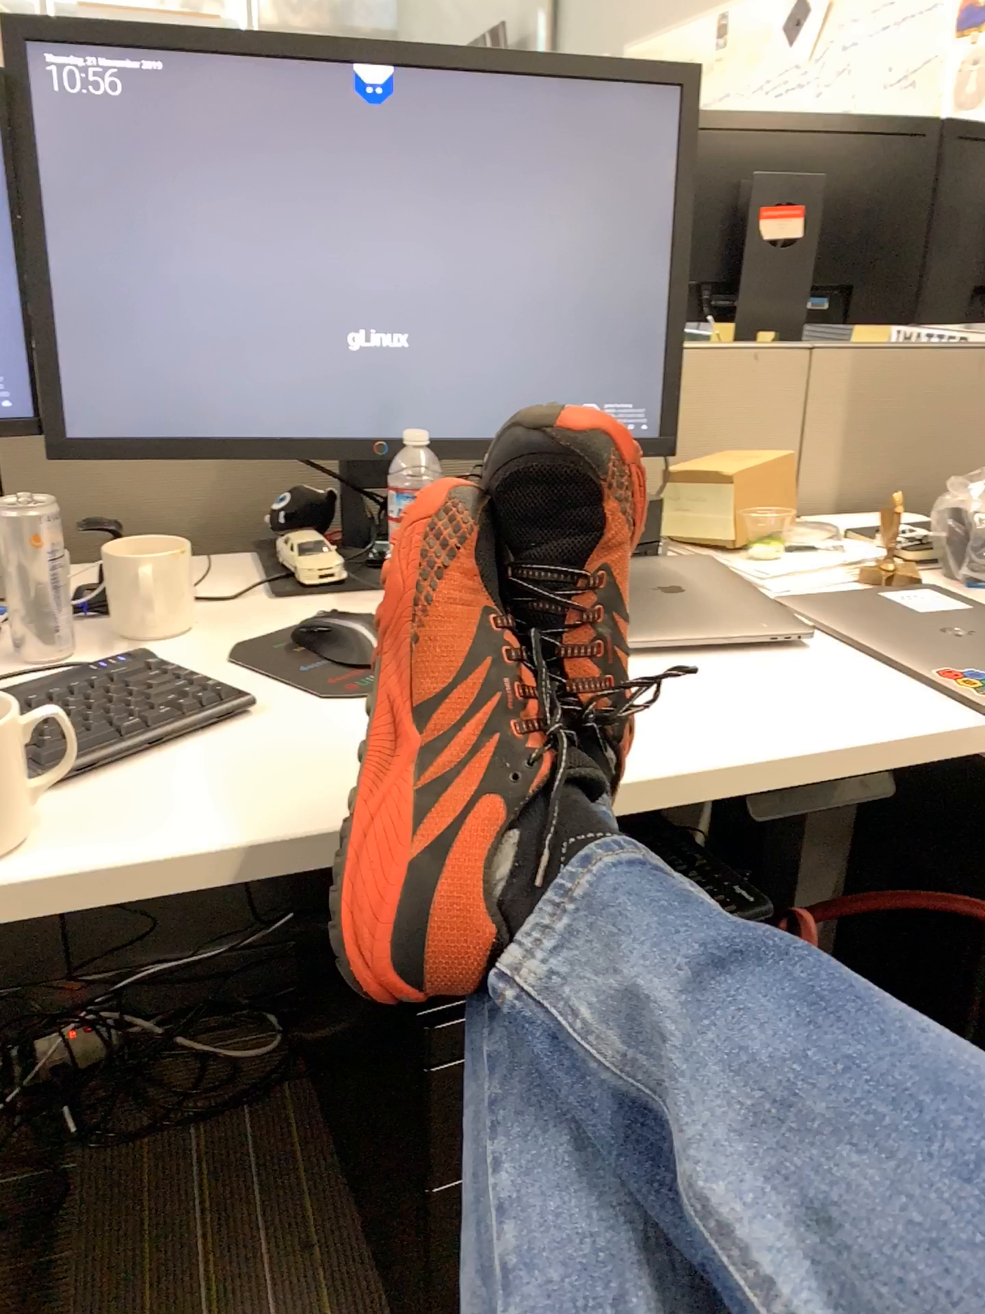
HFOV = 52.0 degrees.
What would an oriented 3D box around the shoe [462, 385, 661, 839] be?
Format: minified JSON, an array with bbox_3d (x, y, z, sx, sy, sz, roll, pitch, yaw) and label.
[{"bbox_3d":[0.049,-0.027,0.643,0.107,0.271,0.083,2,22,11],"label":"shoe"}]

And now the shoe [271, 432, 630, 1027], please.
[{"bbox_3d":[-0.012,0.033,0.547,0.132,0.290,0.091,5,-14,14],"label":"shoe"}]
